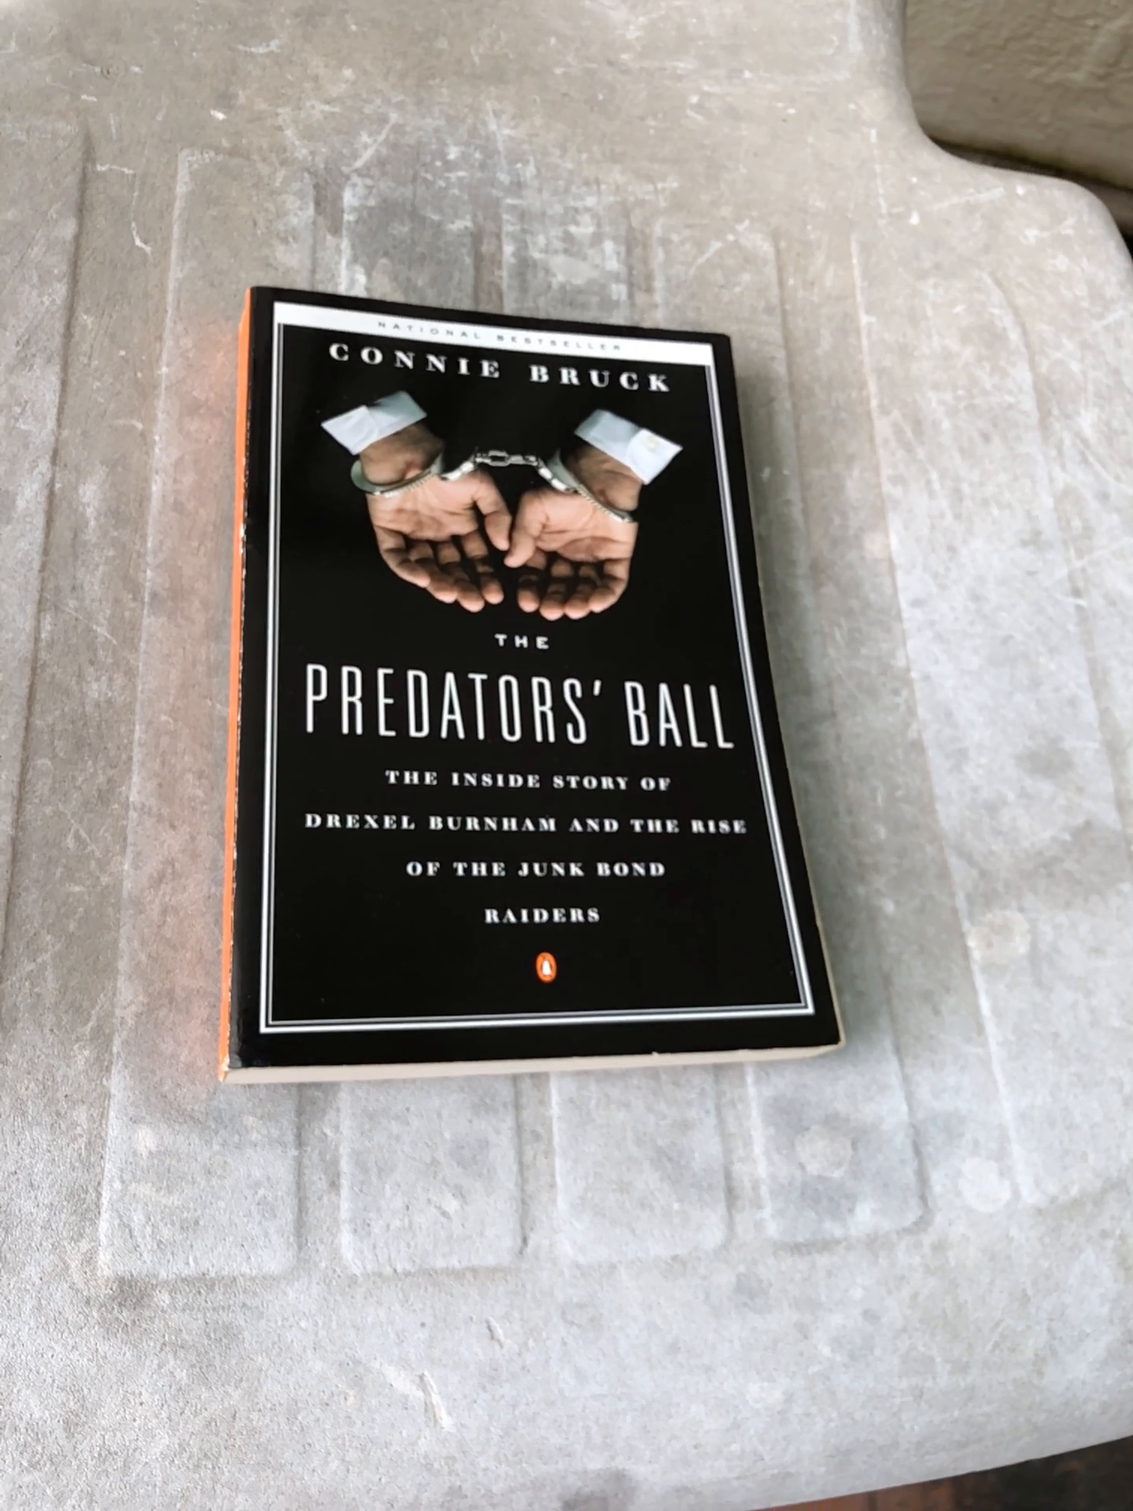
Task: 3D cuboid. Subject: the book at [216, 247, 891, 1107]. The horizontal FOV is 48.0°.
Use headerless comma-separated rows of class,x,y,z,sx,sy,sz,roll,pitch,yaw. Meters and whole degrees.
book,-0.009,-0.027,0.313,0.140,0.030,0.210,1,66,-13
